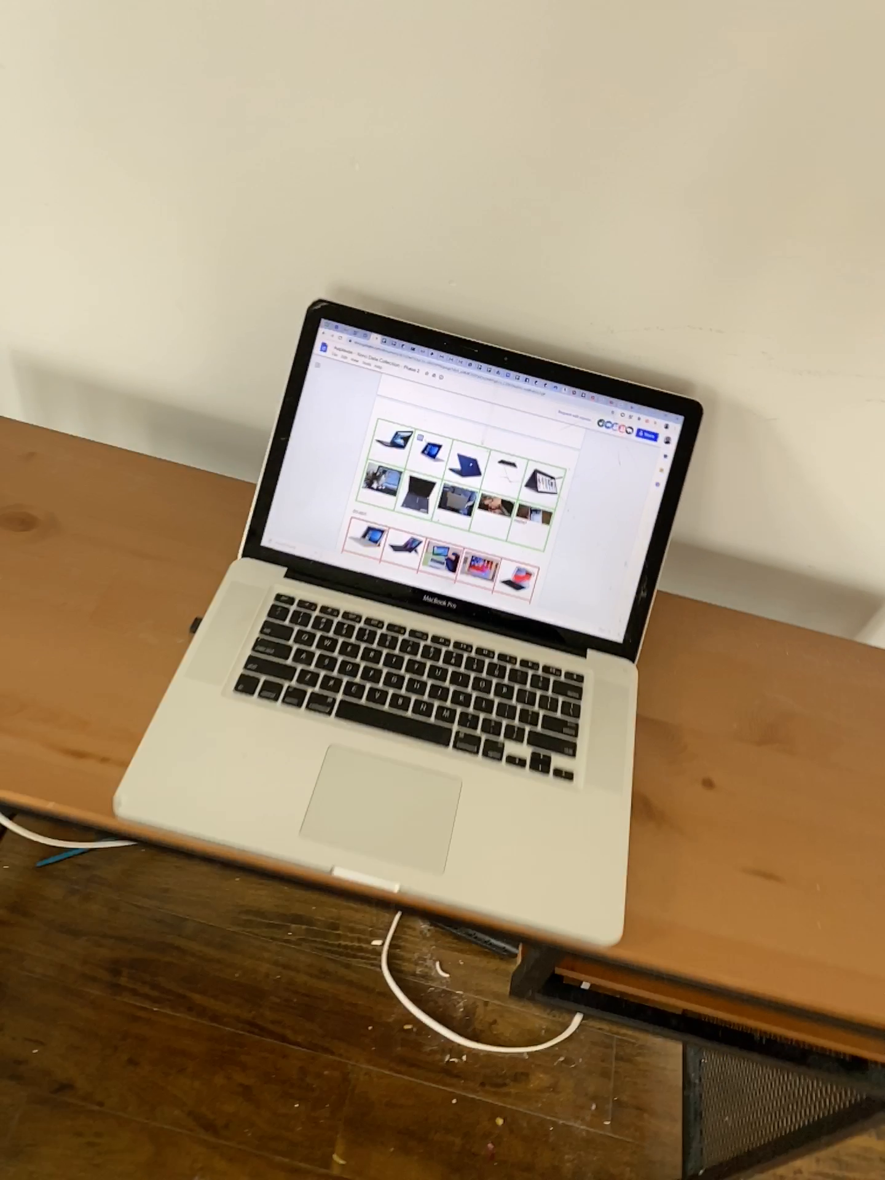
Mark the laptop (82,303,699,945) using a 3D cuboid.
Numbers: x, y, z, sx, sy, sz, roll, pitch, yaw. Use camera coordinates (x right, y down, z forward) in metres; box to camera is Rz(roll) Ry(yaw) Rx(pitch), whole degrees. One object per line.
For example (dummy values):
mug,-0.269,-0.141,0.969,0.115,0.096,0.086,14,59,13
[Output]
laptop,0.000,-0.004,0.724,0.367,0.151,0.441,15,49,0
